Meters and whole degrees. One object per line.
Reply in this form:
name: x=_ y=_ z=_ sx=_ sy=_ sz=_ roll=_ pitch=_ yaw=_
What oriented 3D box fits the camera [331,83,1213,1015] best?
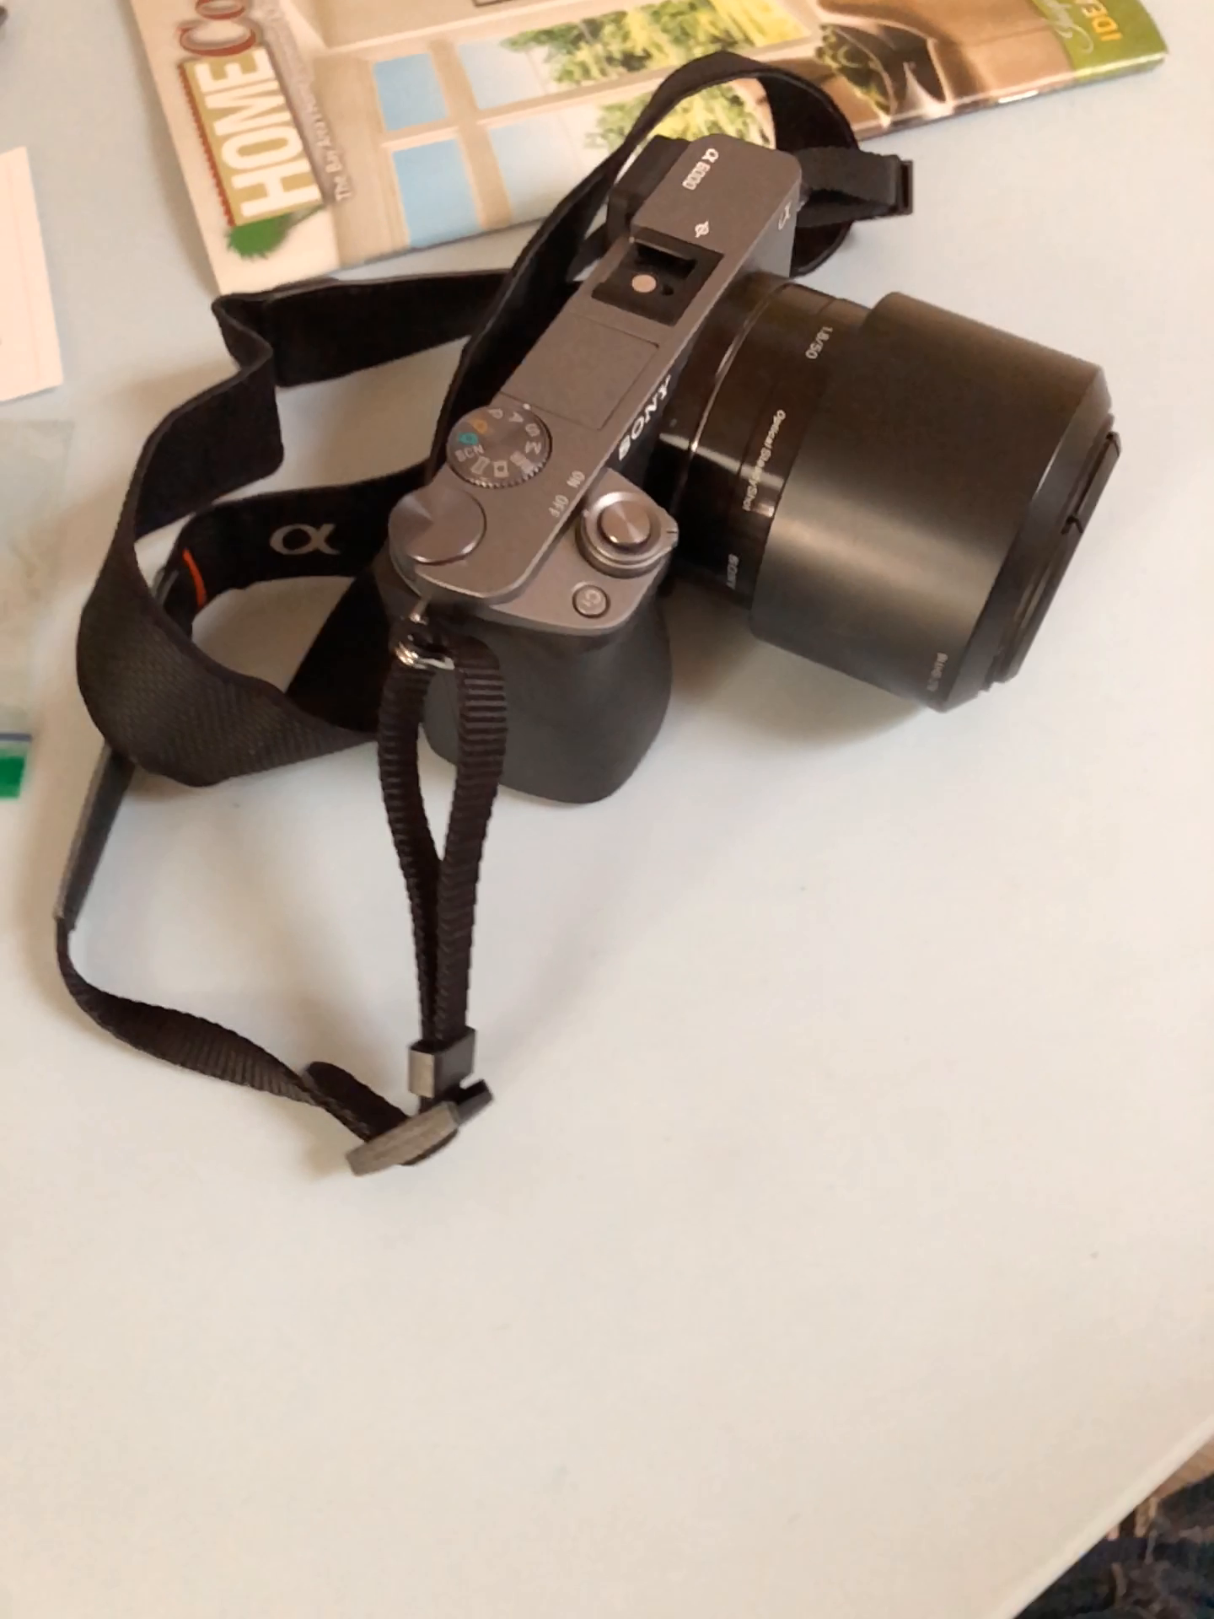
camera: x=0.036 y=-0.052 z=0.257 sx=0.110 sy=0.070 sz=0.130 roll=27 pitch=65 yaw=13
